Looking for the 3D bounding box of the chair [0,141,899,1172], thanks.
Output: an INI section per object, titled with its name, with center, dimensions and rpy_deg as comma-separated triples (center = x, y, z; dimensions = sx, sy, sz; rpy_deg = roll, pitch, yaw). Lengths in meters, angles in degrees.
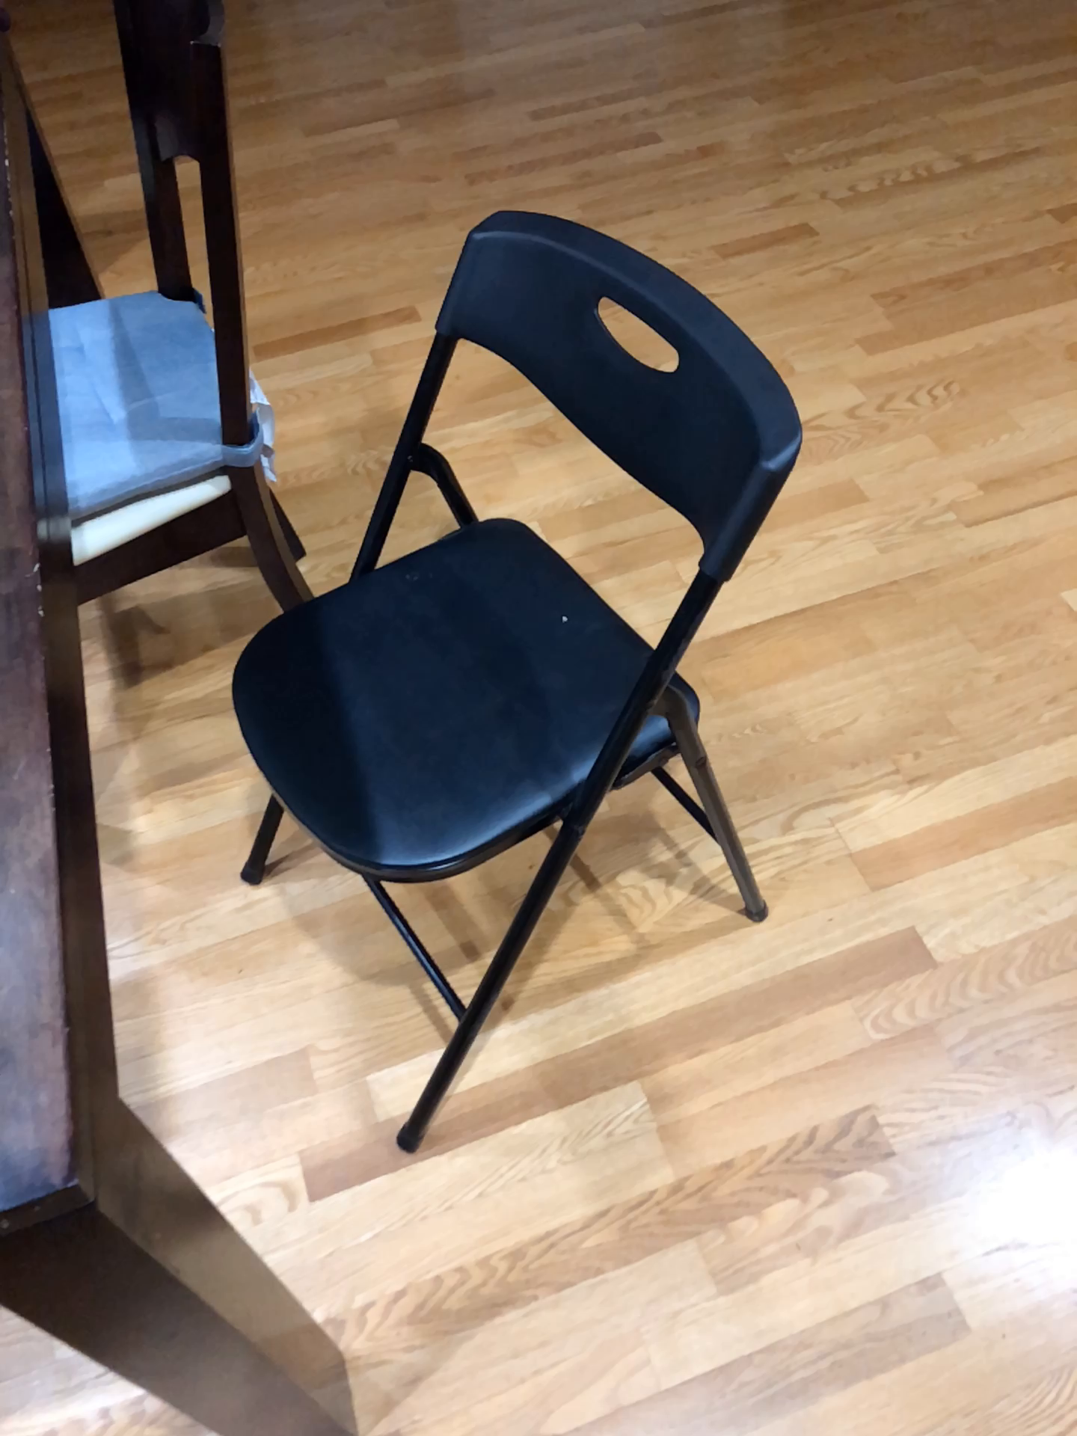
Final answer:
[chair]
center = -0.084, -0.040, 1.153
dimensions = 0.520, 0.697, 0.522
rpy_deg = -29, 54, -17
